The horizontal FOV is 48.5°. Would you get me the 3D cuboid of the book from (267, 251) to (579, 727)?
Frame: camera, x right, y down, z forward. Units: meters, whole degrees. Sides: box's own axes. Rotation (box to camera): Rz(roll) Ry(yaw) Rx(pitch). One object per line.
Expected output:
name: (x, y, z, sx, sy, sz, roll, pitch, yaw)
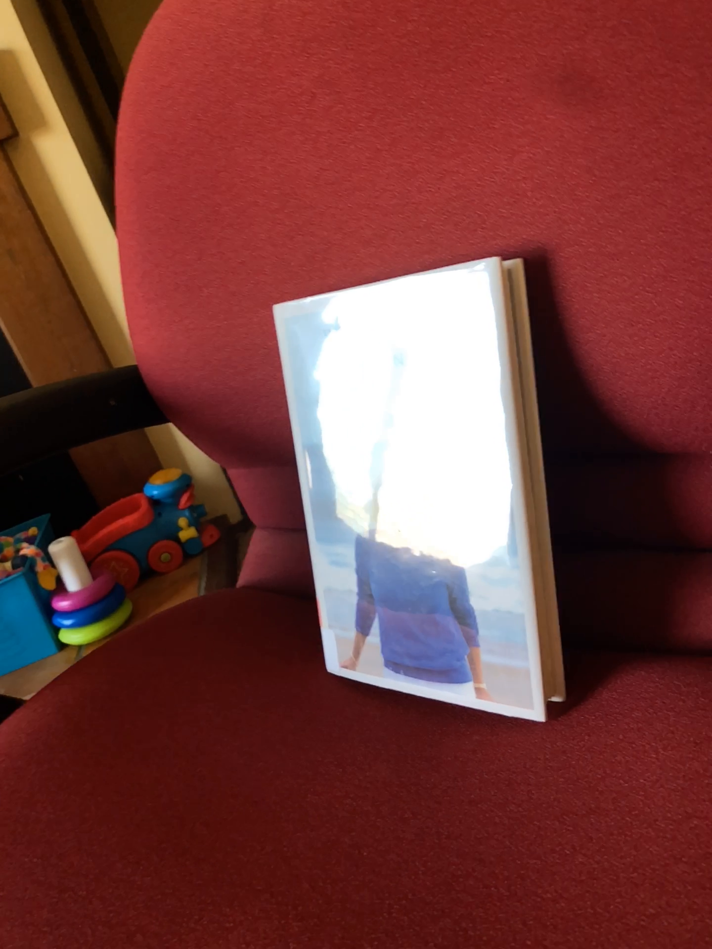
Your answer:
book: (0.029, 0.007, 0.404, 0.150, 0.210, 0.030, 1, 10, 42)
